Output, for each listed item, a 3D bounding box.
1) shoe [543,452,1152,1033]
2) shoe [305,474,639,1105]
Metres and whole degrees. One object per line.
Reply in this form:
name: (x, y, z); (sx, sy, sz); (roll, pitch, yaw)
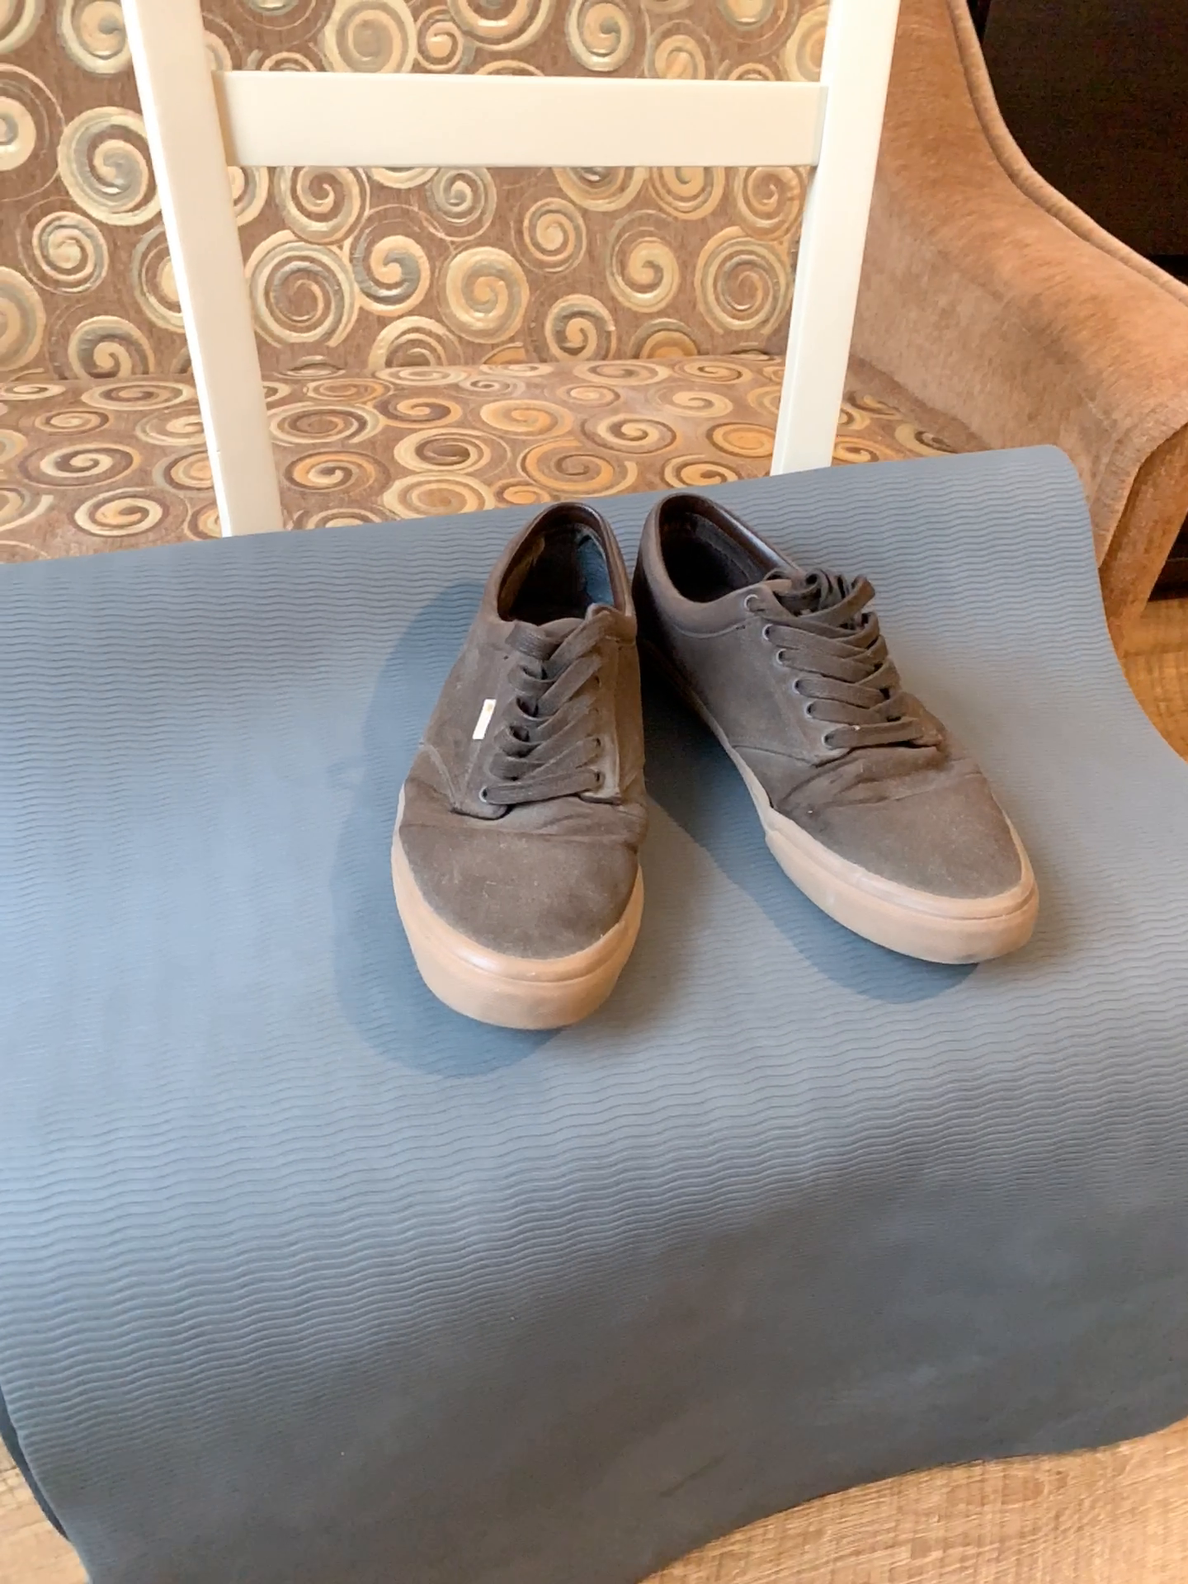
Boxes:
shoe: (0.091, -0.048, 0.573); (0.110, 0.080, 0.321); (-14, 44, -21)
shoe: (-0.040, -0.028, 0.555); (0.110, 0.080, 0.342); (3, 41, -2)
